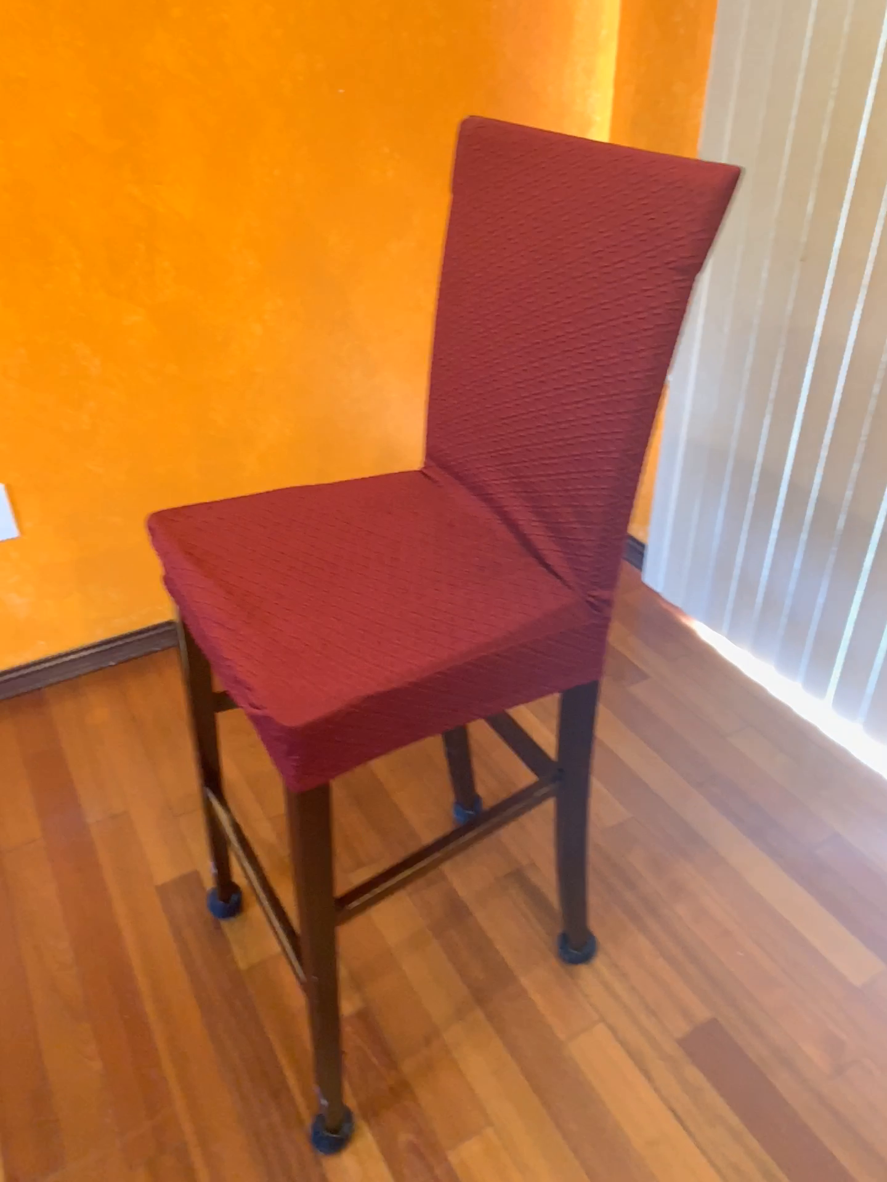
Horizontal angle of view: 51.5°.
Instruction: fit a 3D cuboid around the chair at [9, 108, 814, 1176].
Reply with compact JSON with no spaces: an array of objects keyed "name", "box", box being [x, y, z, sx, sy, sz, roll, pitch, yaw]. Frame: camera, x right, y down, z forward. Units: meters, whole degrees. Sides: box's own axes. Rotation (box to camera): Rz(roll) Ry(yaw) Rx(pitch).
[{"name":"chair","box":[-0.055,0.059,1.049,0.506,1.027,0.471,-18,37,-25]}]
